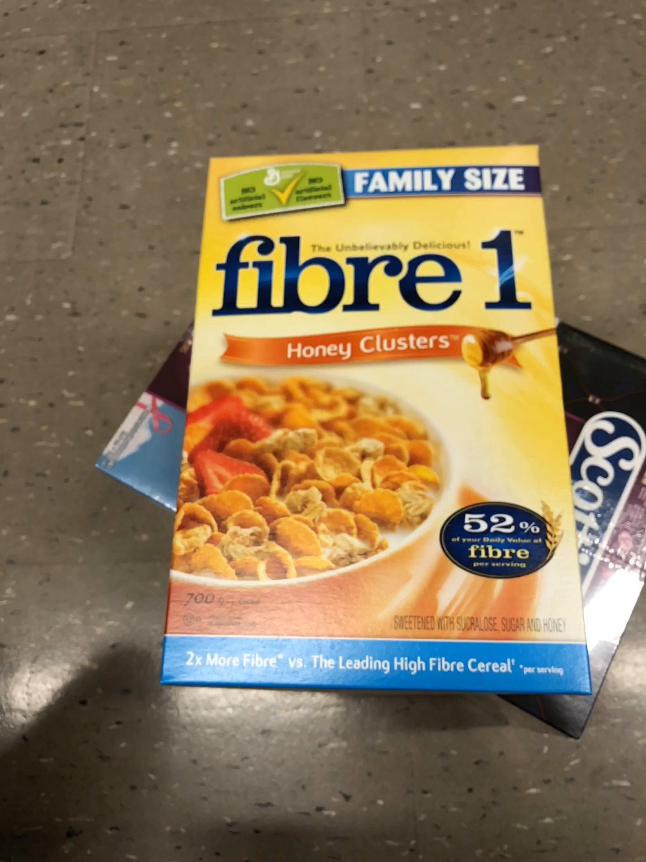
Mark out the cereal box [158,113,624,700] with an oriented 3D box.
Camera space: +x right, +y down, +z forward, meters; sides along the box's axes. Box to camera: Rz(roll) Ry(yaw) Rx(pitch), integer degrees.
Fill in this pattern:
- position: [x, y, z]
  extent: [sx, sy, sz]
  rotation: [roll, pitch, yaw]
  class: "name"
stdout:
- position: [0.033, -0.022, 0.409]
  extent: [0.200, 0.080, 0.320]
  rotation: [-1, 68, 4]
  class: "cereal box"
